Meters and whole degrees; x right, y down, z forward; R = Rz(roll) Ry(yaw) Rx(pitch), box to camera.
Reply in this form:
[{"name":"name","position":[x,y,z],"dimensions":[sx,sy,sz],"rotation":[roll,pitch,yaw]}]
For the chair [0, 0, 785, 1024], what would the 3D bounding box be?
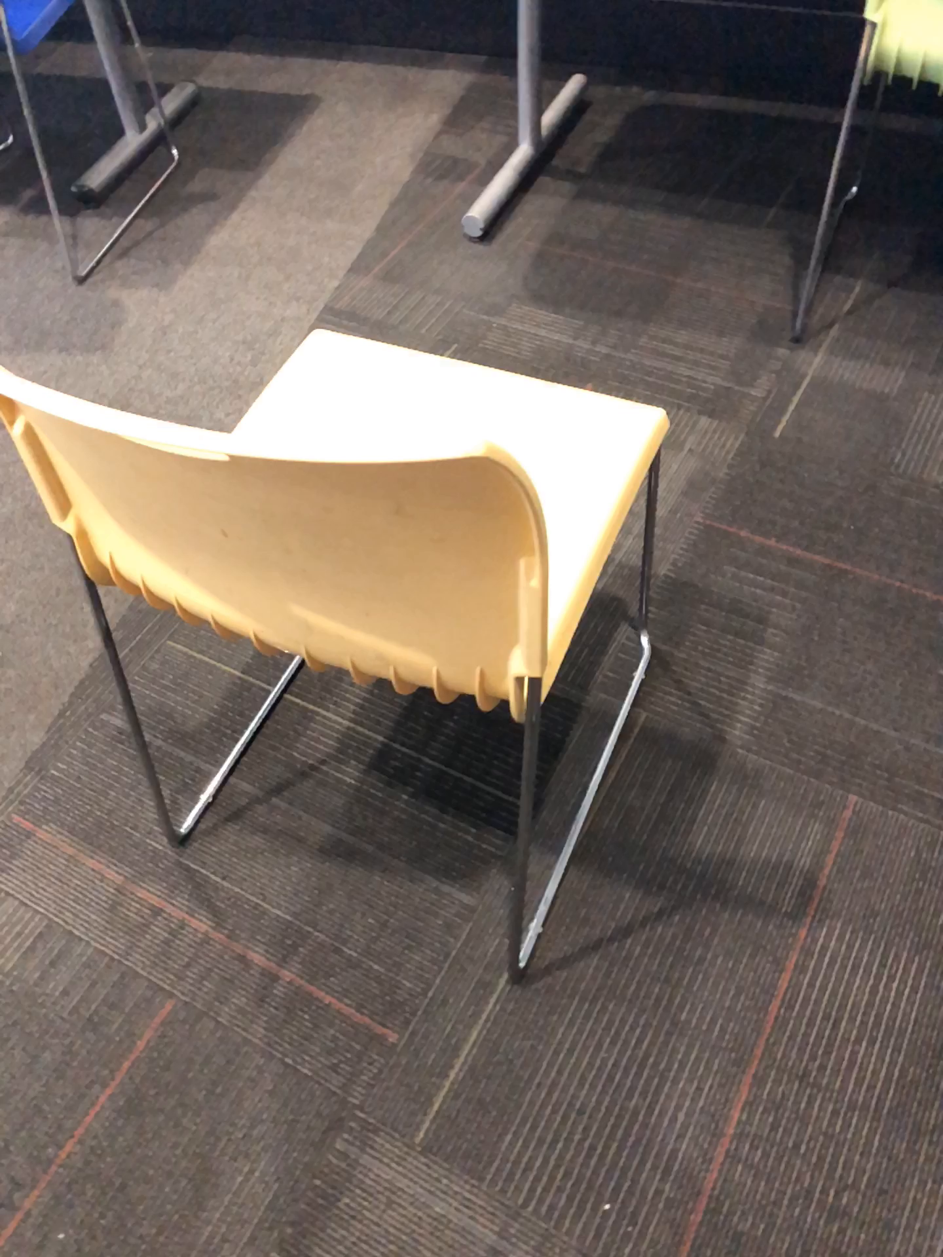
[{"name":"chair","position":[-0.113,-0.115,1.022],"dimensions":[0.571,0.737,0.561],"rotation":[18,55,19]}]
